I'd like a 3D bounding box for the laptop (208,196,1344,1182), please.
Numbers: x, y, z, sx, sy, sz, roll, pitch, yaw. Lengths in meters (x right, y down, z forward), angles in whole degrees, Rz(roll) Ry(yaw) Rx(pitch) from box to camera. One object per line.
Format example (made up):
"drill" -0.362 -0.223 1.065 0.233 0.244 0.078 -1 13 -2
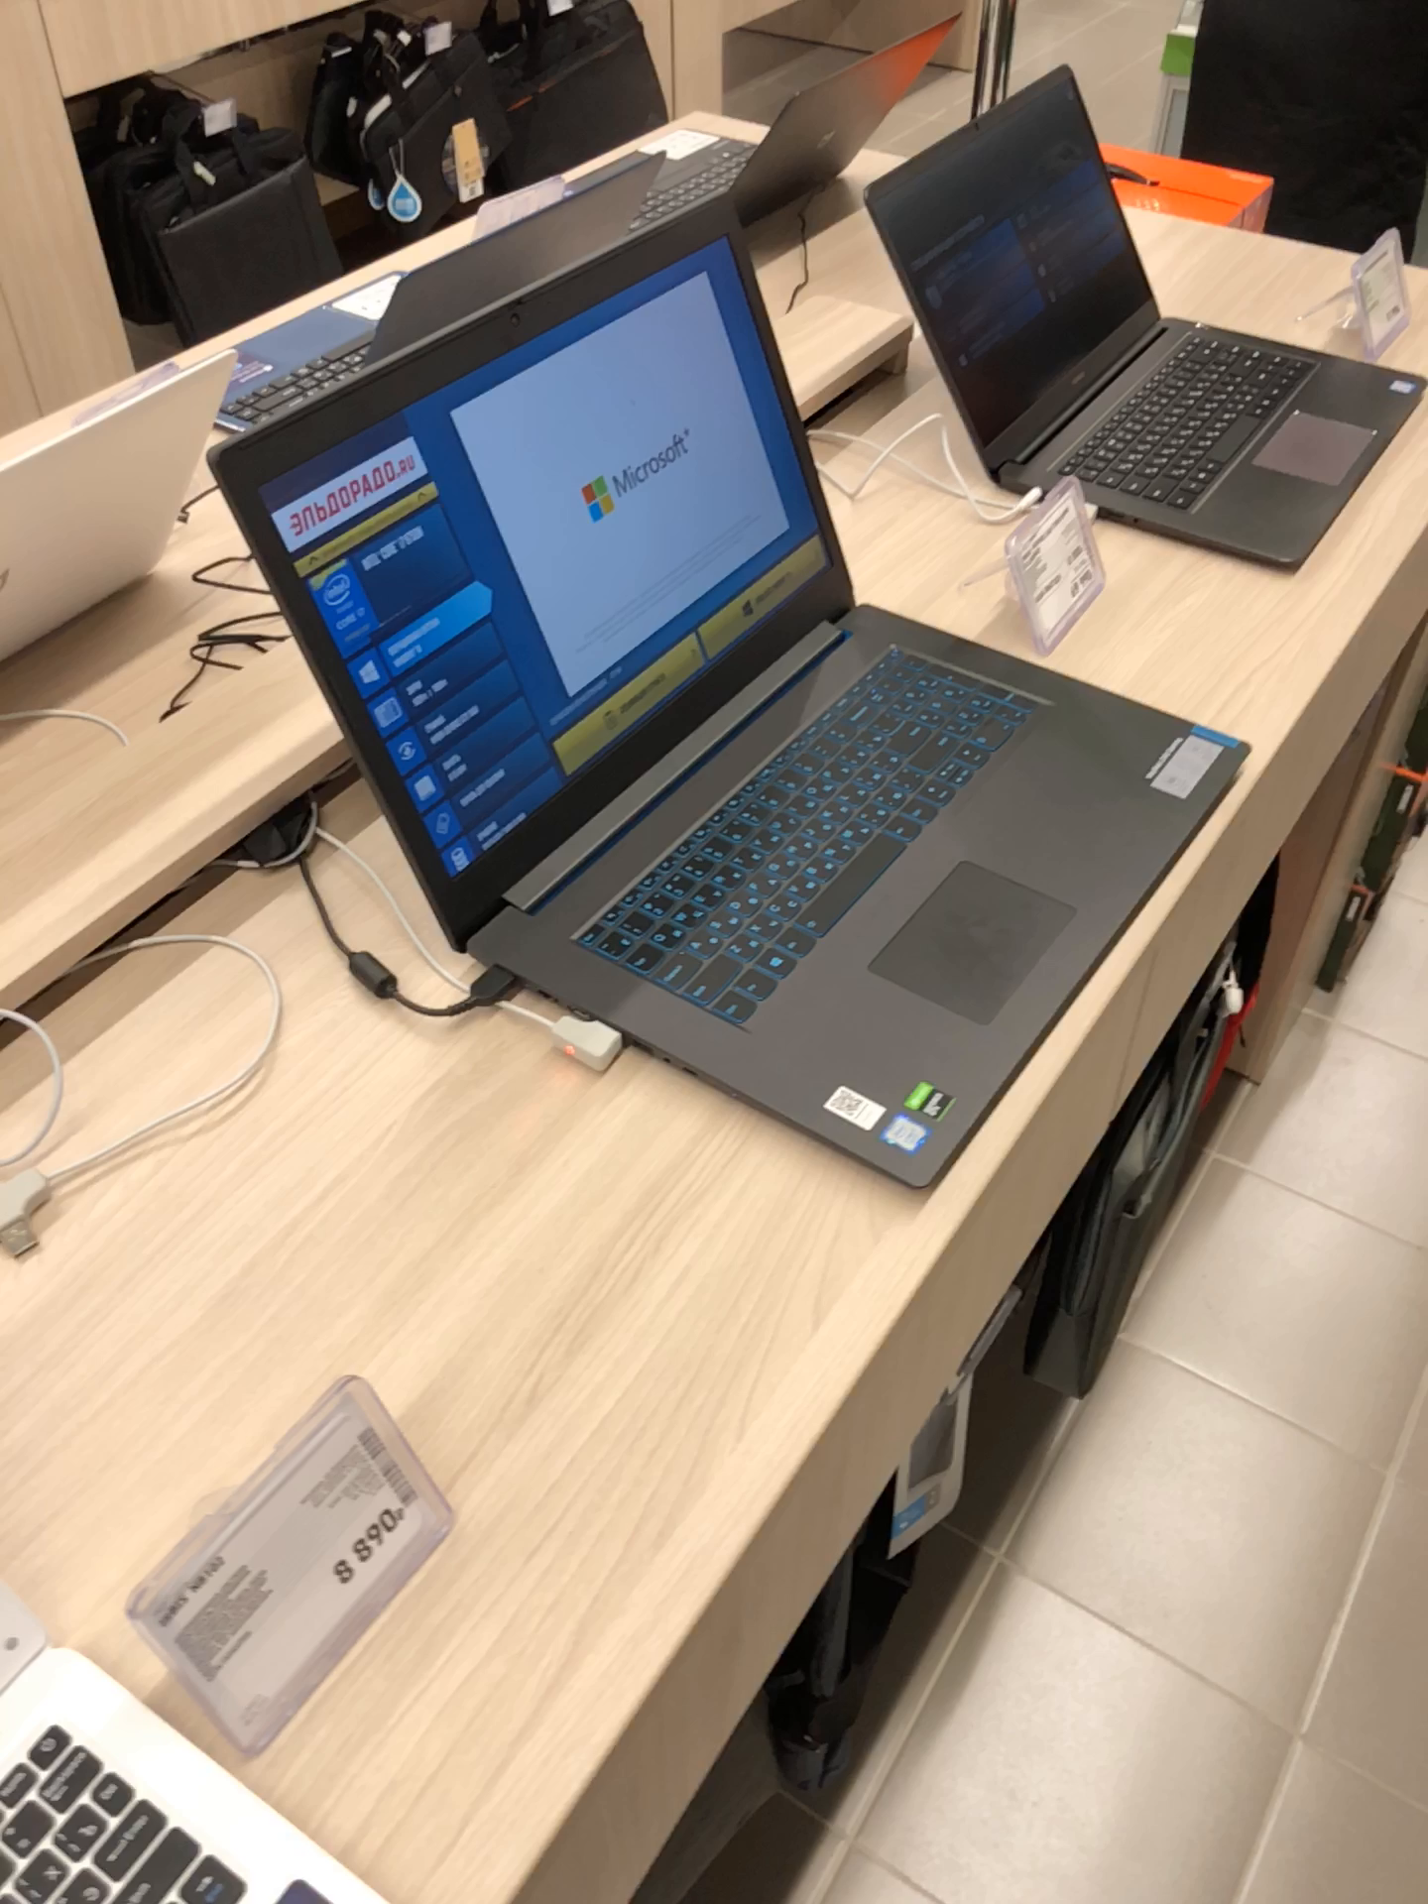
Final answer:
"laptop" 0.044 -0.173 0.820 0.381 0.242 0.396 26 49 24
